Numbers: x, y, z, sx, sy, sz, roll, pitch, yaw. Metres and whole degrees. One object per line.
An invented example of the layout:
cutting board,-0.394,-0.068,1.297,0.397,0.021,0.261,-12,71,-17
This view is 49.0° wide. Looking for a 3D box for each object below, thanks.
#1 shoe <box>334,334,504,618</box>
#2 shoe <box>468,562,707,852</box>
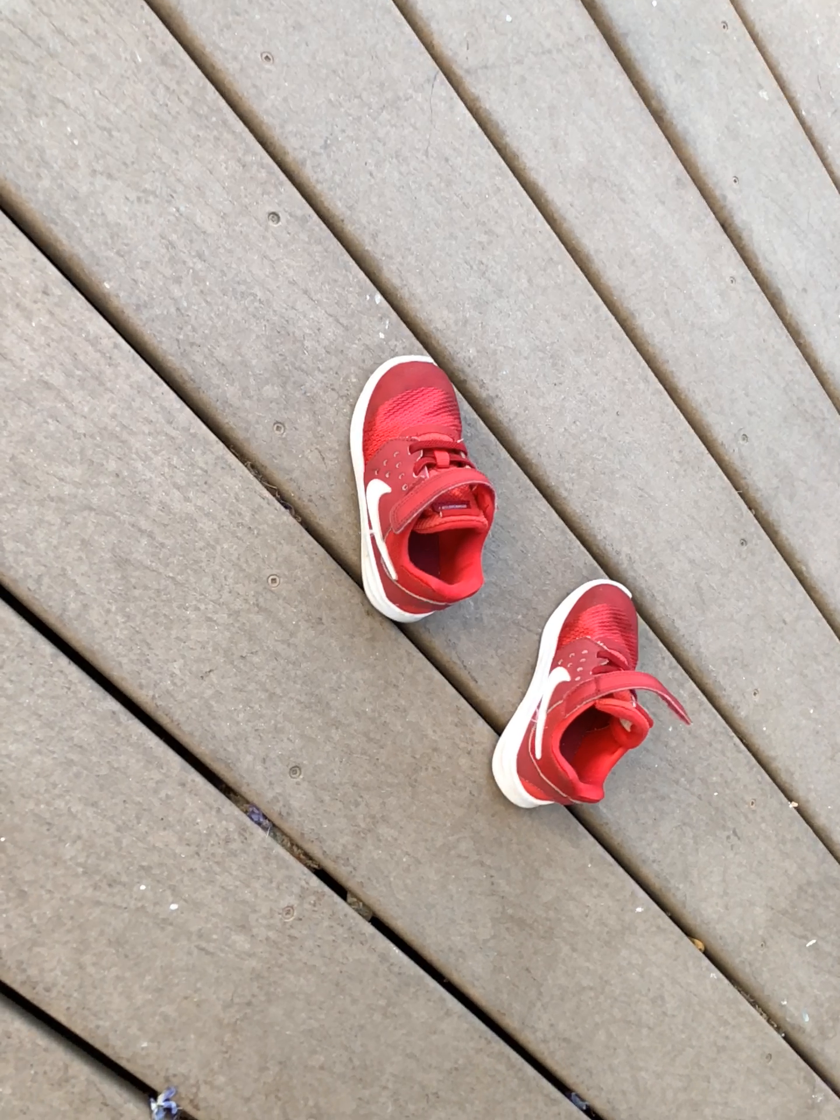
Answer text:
shoe,-0.001,-0.043,0.542,0.073,0.069,0.153,3,86,-31
shoe,0.110,0.091,0.598,0.070,0.069,0.164,36,70,-25
